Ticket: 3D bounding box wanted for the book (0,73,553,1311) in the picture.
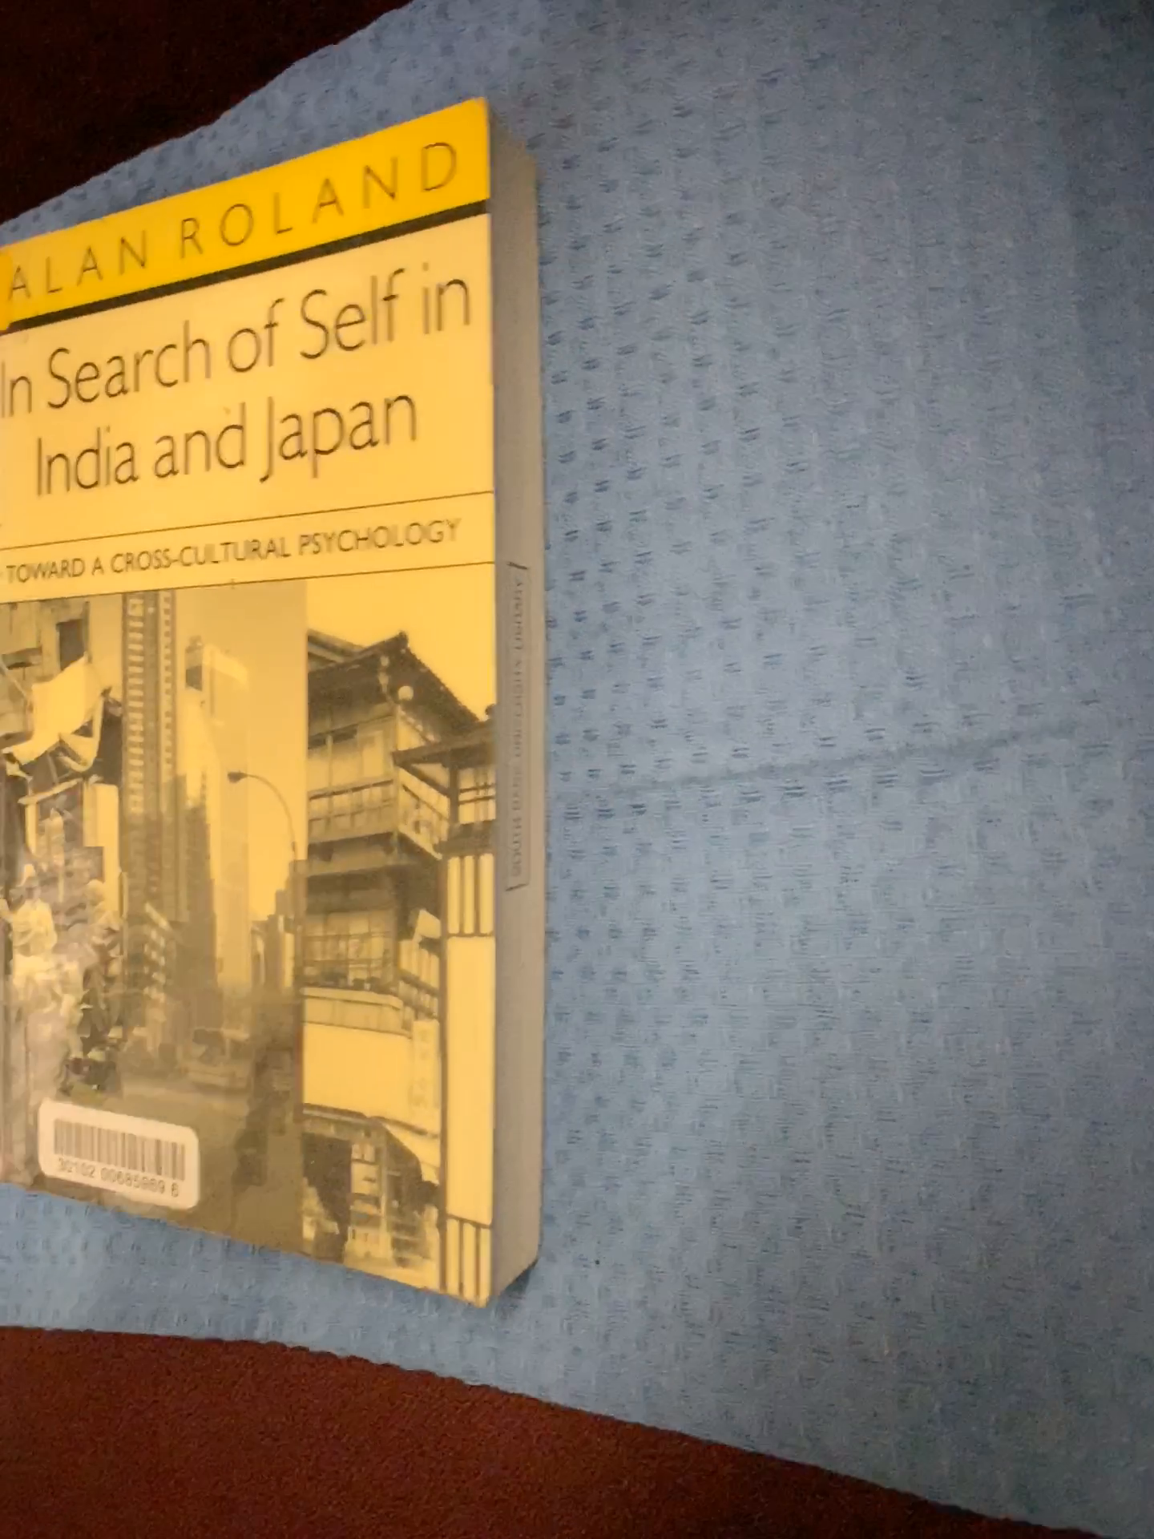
[{"bbox_3d":[-0.082,-0.016,0.274,0.156,0.032,0.232,0,89,28],"label":"book"}]
